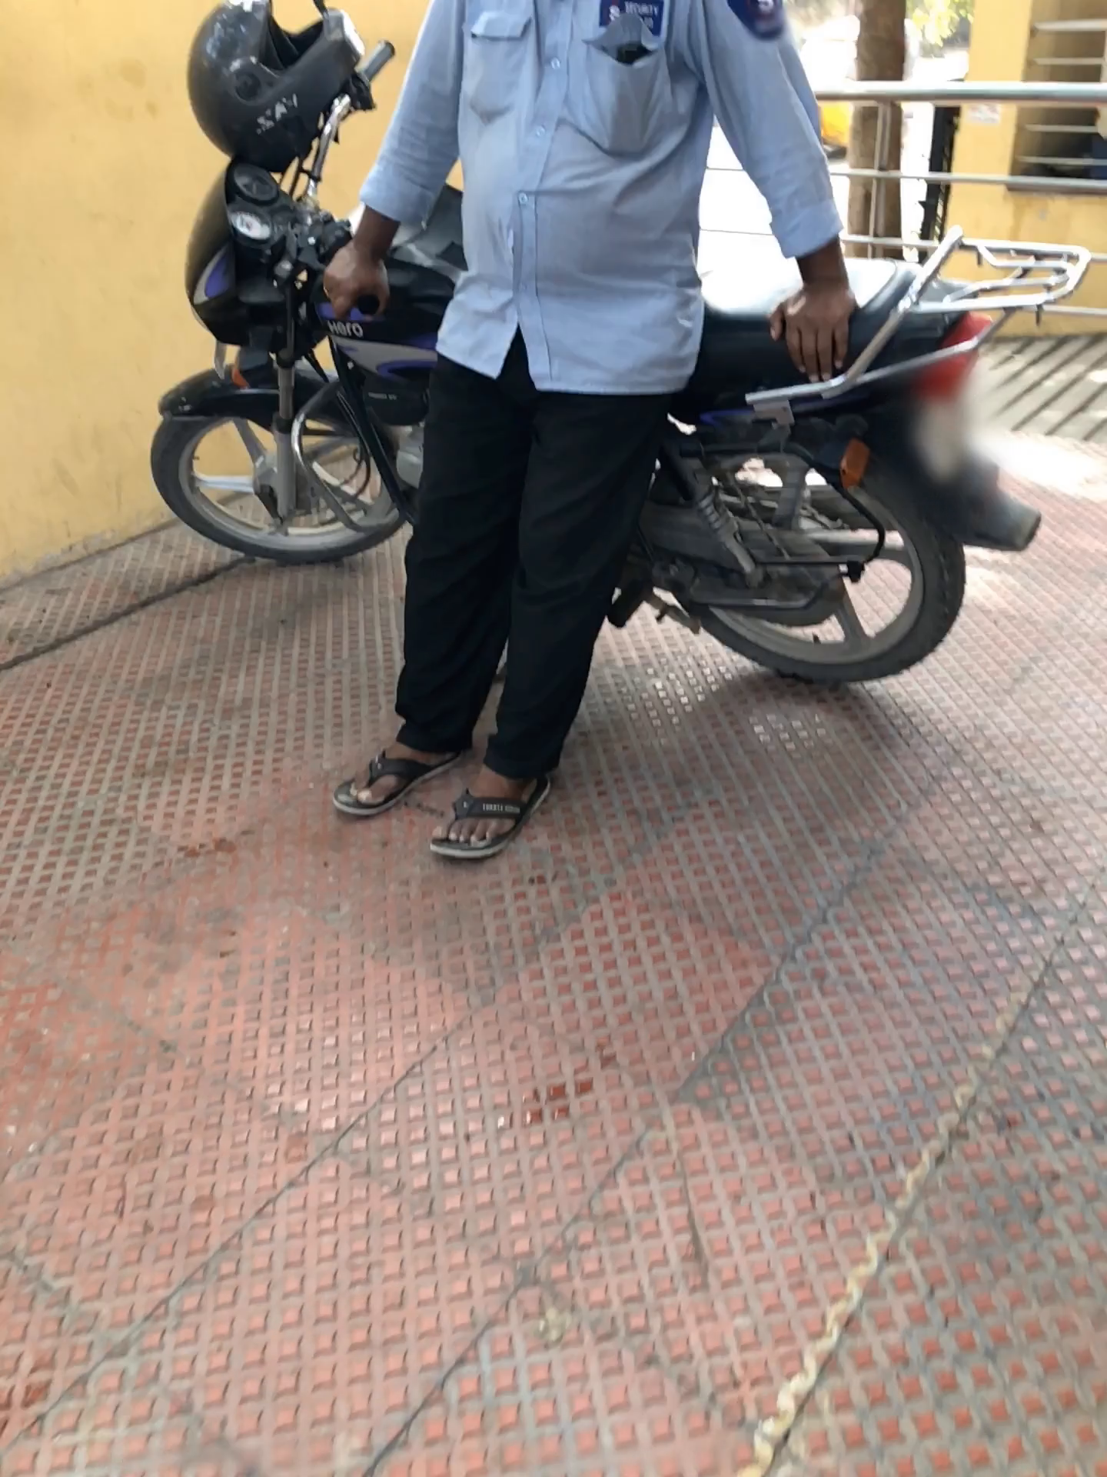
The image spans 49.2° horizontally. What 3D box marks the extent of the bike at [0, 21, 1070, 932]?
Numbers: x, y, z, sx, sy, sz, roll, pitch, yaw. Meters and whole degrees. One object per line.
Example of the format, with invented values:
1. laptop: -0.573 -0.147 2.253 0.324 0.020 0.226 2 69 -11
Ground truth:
1. bike: -0.190 -0.570 2.002 1.673 1.007 0.926 13 35 21
